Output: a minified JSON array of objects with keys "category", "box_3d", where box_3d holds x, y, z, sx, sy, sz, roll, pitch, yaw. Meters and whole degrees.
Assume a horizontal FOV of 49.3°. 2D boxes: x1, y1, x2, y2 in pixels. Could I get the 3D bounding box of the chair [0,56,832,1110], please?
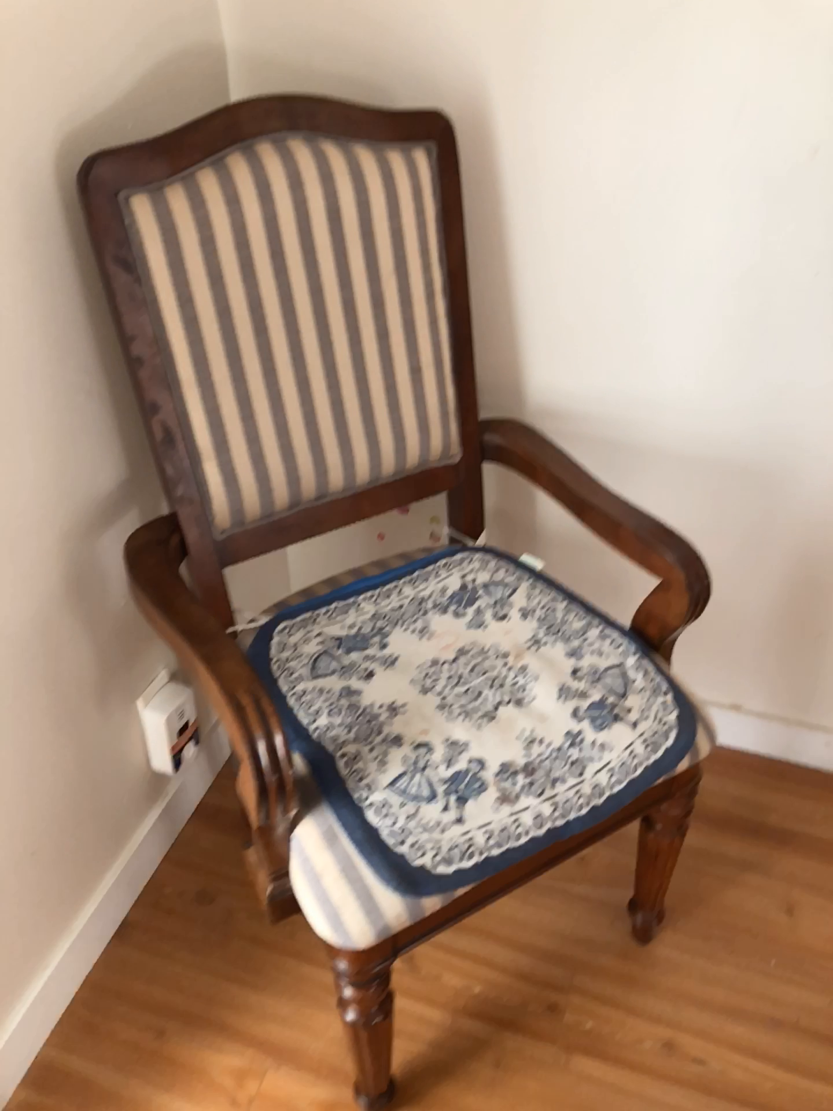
[{"category":"chair","box_3d":[0.012,0.076,1.063,0.531,1.043,0.583,-23,43,-25]}]
